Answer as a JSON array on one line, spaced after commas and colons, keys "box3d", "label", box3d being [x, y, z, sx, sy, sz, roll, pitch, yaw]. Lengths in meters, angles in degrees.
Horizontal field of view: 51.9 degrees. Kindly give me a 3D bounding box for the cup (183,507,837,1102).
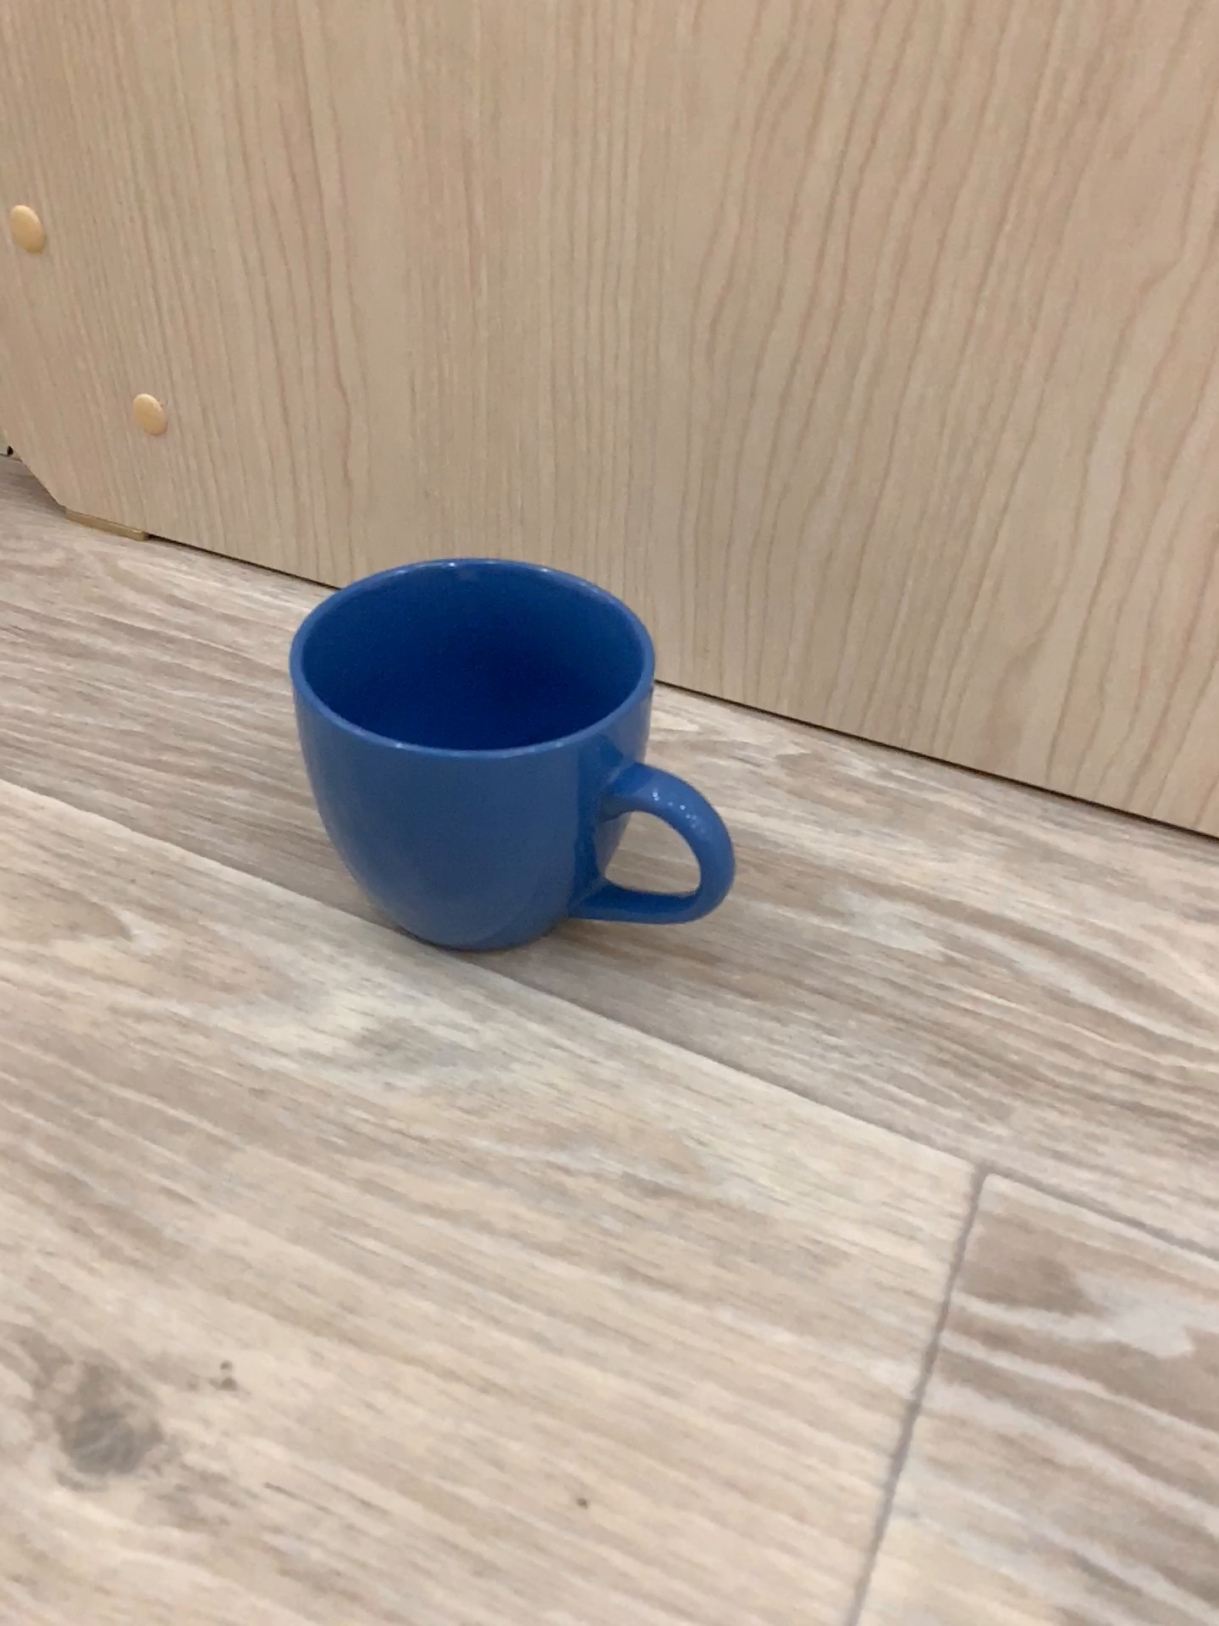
[{"box3d": [-0.022, -0.008, 0.293, 0.118, 0.074, 0.078, 22, 42, 22], "label": "cup"}]
